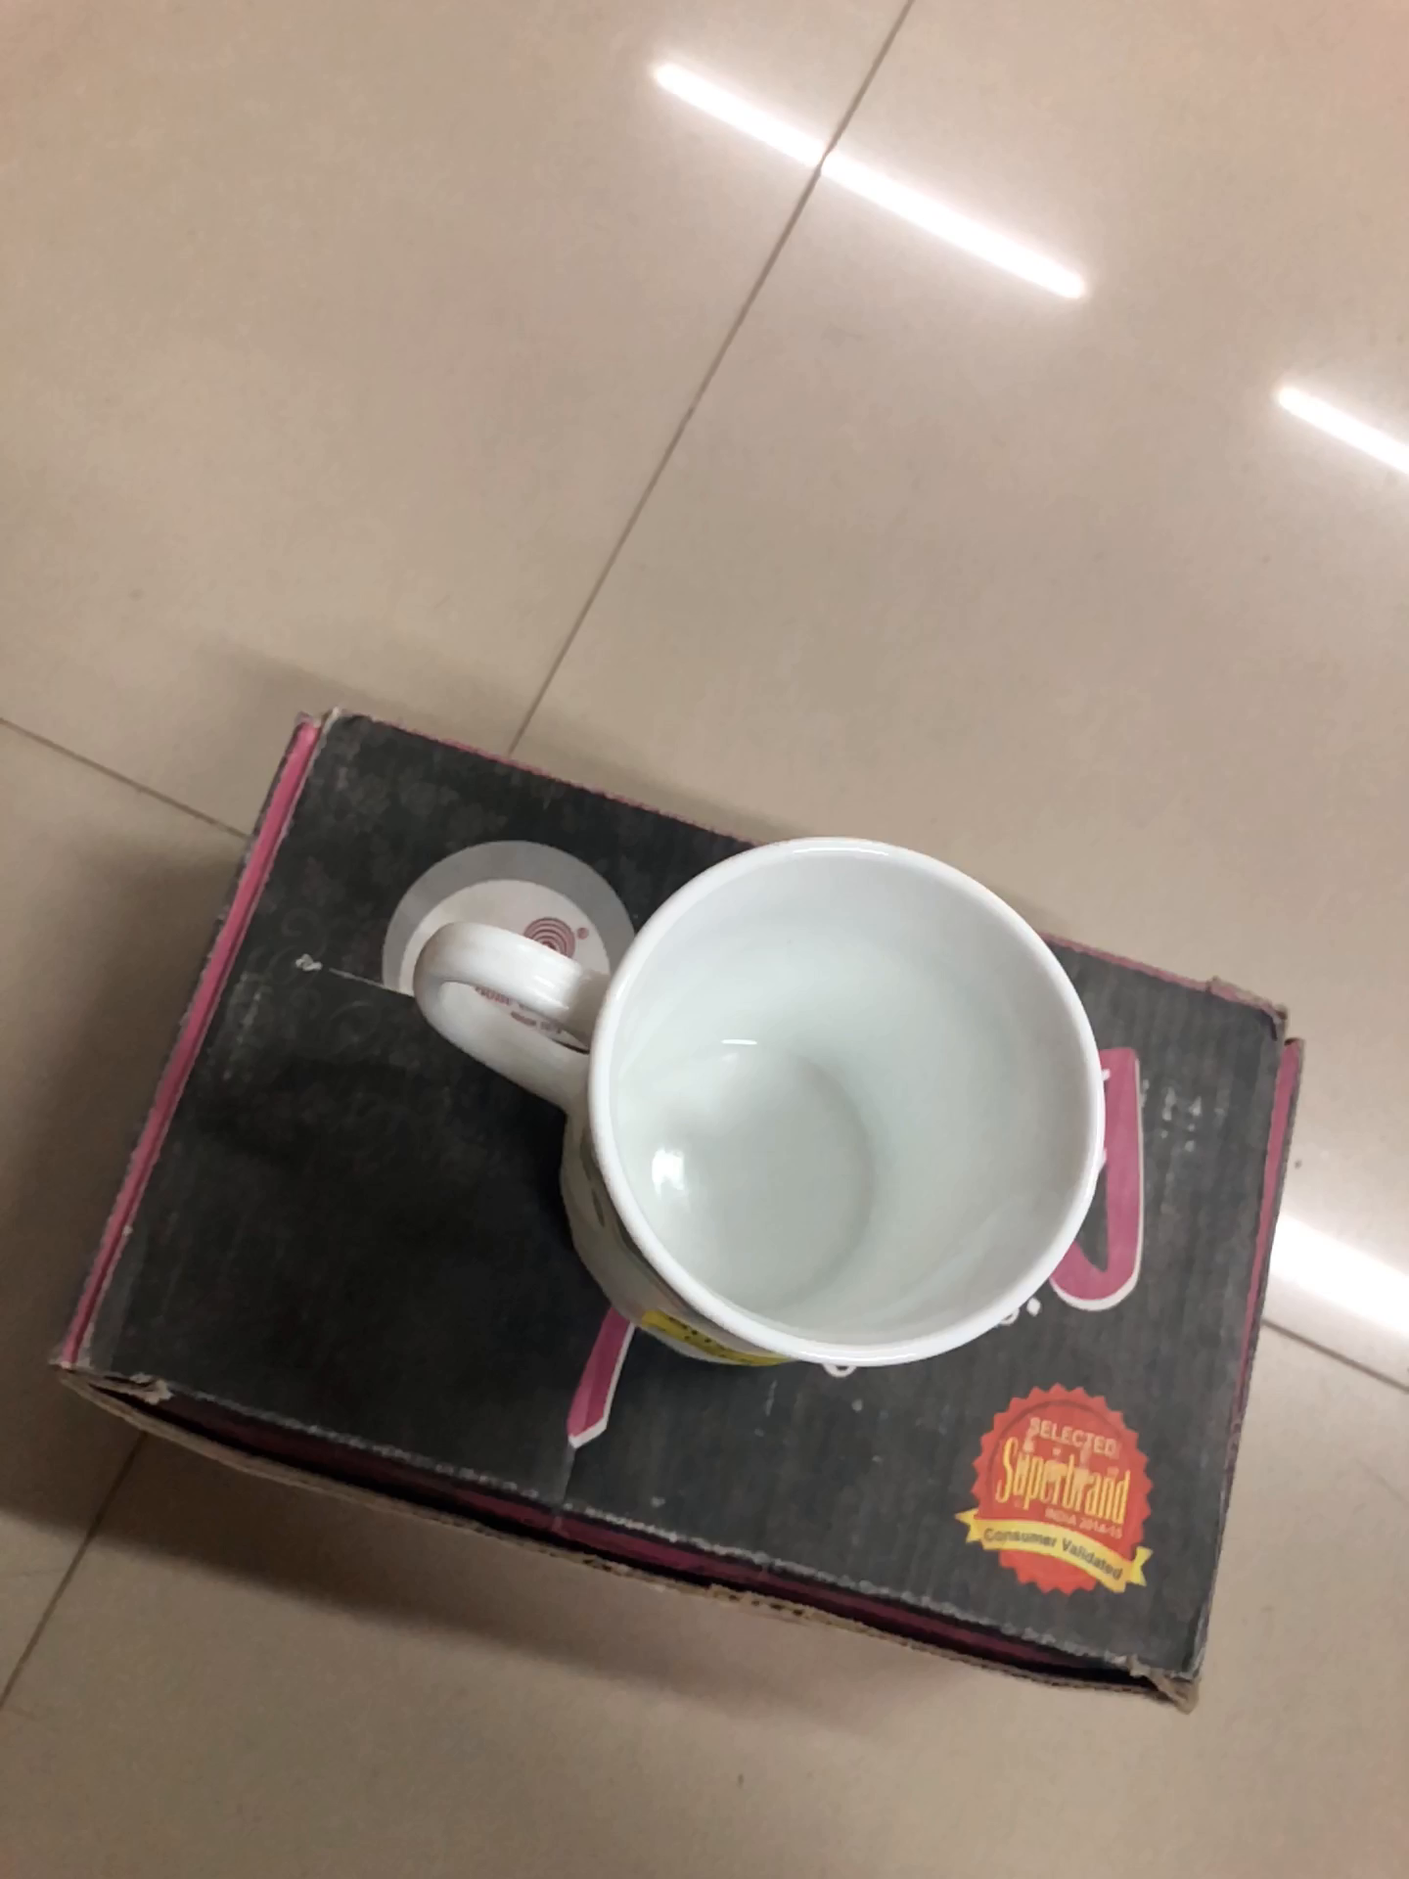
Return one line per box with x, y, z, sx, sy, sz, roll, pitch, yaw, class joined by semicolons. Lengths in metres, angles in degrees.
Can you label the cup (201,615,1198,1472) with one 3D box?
-0.004;0.026;0.267;0.120;0.100;0.080;24;70;-3;cup
